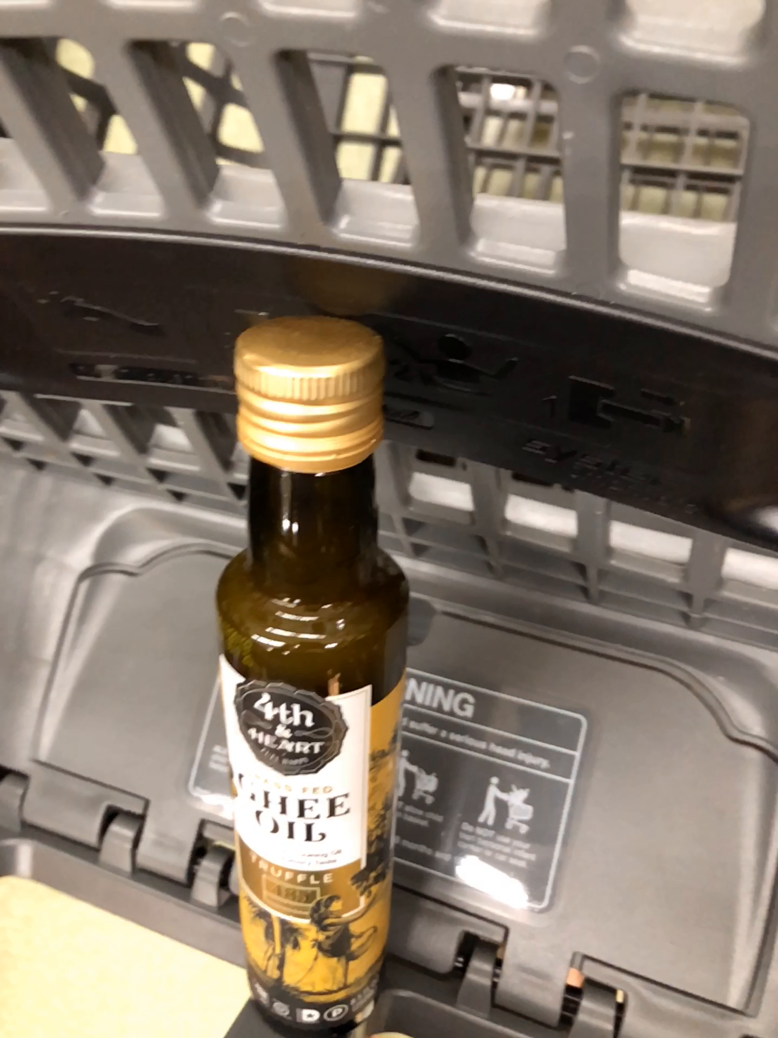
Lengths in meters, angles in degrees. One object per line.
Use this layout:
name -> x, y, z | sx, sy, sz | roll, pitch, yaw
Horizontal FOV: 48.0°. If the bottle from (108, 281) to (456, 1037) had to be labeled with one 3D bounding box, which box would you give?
bottle -> -0.022, 0.067, 0.247 | 0.054, 0.050, 0.251 | 13, 125, 16
